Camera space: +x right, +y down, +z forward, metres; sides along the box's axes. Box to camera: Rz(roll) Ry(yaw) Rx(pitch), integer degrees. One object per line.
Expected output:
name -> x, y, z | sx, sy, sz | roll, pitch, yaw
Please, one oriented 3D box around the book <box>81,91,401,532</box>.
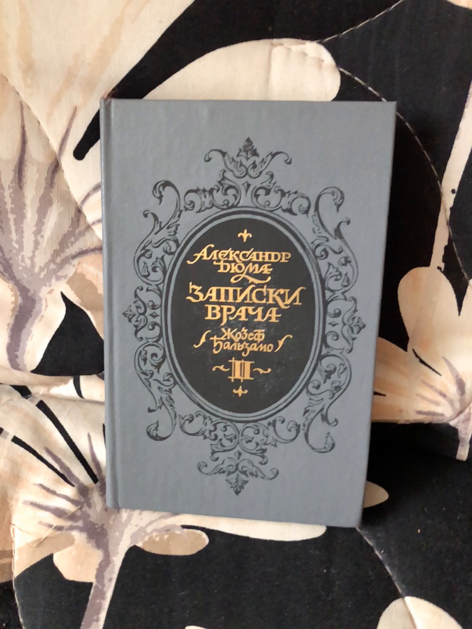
book -> -0.001, 0.001, 0.263 | 0.140, 0.030, 0.206 | 2, 101, 6
